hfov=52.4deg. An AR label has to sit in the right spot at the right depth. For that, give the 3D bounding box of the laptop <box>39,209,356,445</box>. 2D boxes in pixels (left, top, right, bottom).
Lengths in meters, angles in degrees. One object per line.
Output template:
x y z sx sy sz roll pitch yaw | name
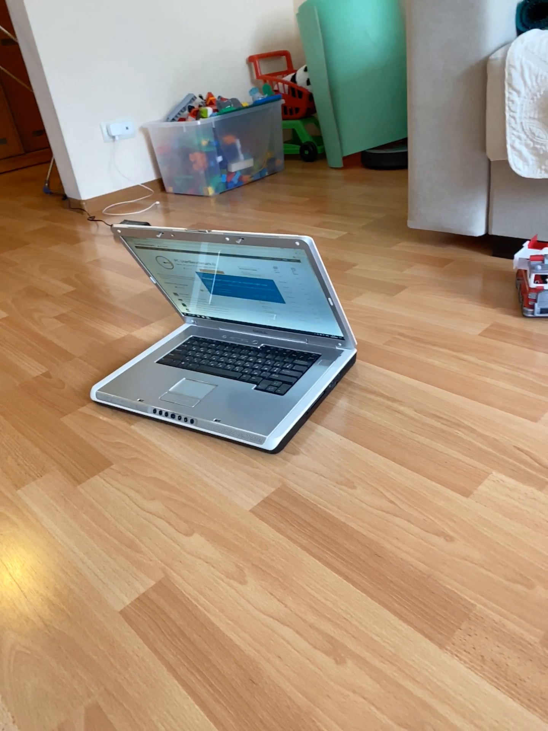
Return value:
-0.108 -0.092 0.902 0.387 0.238 0.274 10 34 30 | laptop
